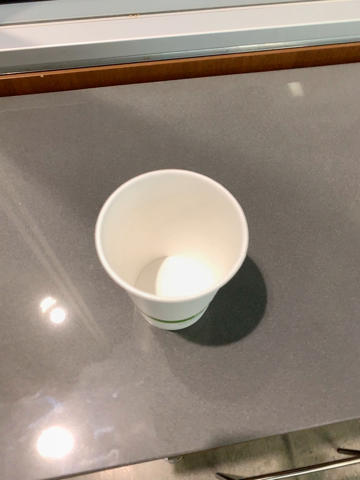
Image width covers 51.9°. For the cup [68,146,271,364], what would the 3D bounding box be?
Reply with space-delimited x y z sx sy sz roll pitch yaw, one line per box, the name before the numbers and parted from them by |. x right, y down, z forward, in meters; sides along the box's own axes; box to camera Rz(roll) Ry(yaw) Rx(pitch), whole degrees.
cup | -0.002 0.015 0.244 0.090 0.100 0.090 0 60 -1
